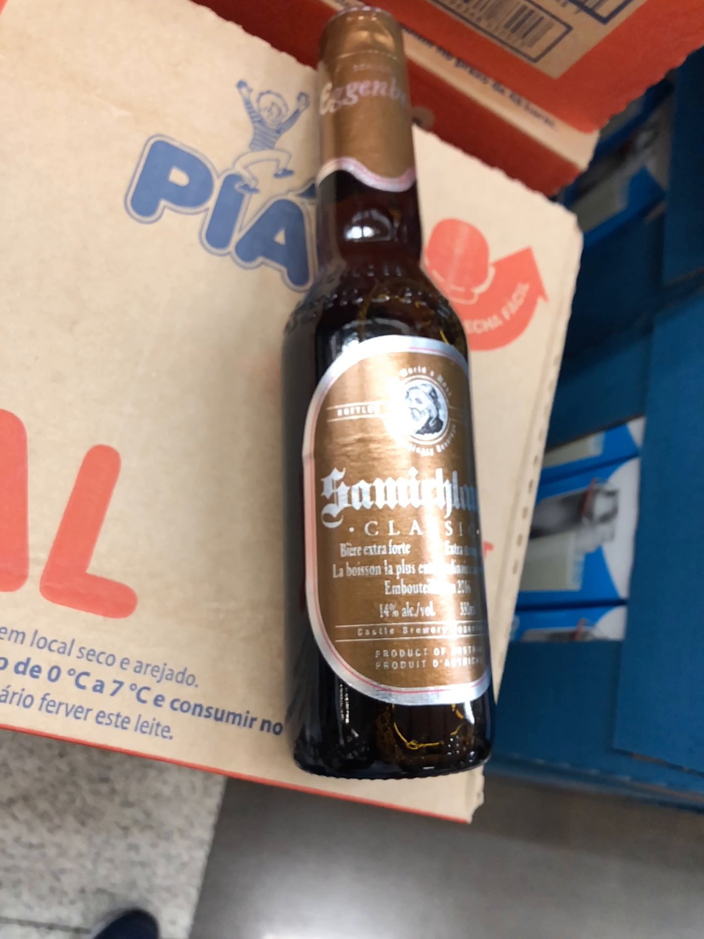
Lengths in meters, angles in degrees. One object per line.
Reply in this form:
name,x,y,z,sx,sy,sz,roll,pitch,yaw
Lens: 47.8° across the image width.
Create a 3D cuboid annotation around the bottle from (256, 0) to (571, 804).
bottle,0.012,-0.044,0.232,0.060,0.050,0.250,3,78,-26
